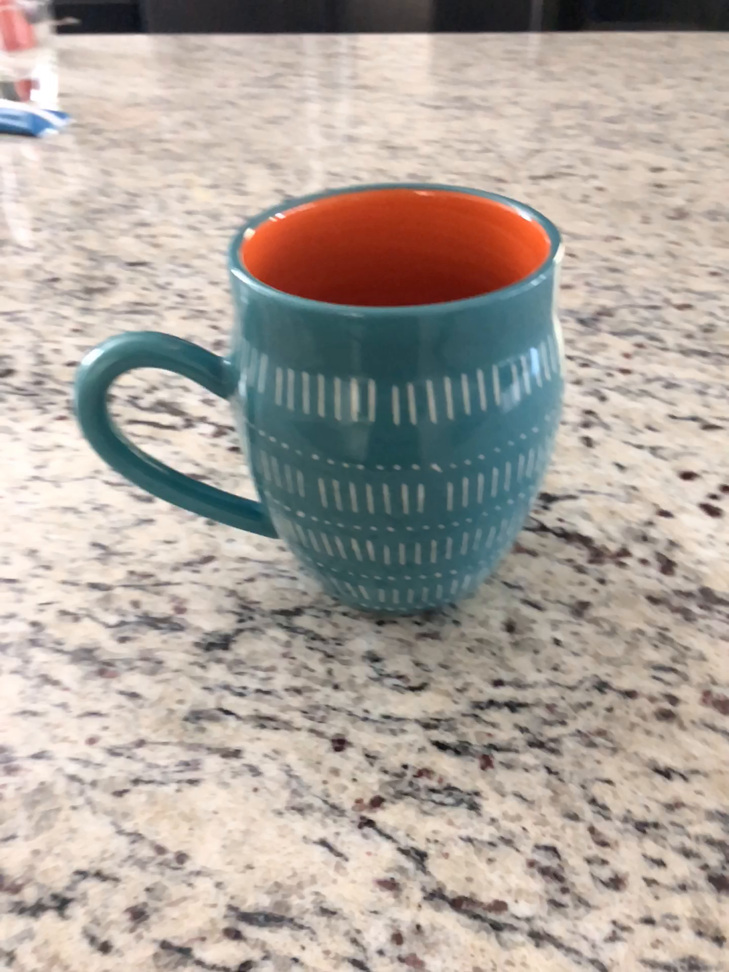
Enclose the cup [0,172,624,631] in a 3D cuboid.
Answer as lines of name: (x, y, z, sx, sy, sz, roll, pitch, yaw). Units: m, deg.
cup: (-0.012, -0.031, 0.260, 0.150, 0.099, 0.111, 1, 37, 4)
